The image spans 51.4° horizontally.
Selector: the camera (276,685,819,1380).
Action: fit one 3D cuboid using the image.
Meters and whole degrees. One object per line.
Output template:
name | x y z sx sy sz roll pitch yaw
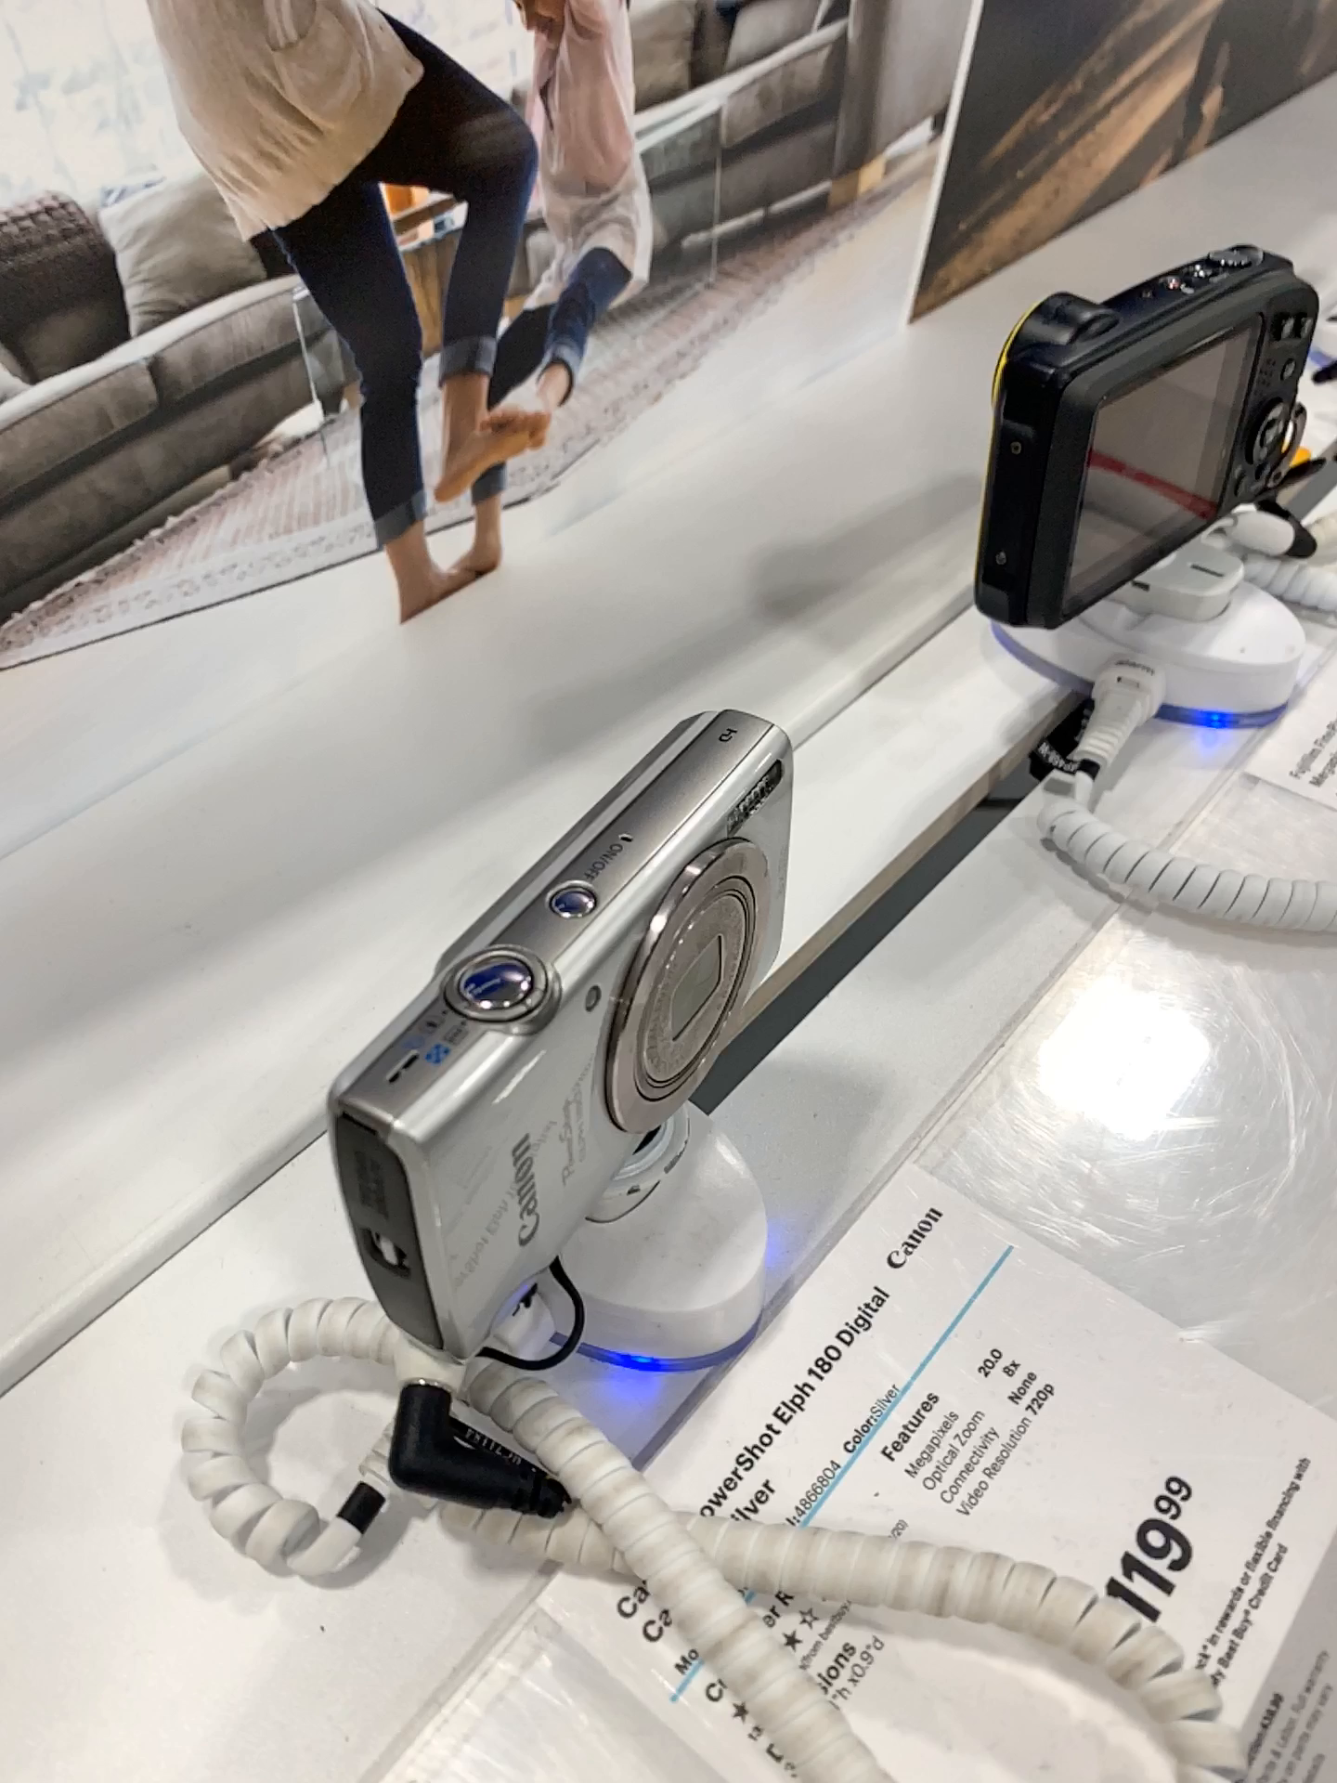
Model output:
camera | -0.013 0.017 0.211 0.022 0.051 0.099 26 49 19
